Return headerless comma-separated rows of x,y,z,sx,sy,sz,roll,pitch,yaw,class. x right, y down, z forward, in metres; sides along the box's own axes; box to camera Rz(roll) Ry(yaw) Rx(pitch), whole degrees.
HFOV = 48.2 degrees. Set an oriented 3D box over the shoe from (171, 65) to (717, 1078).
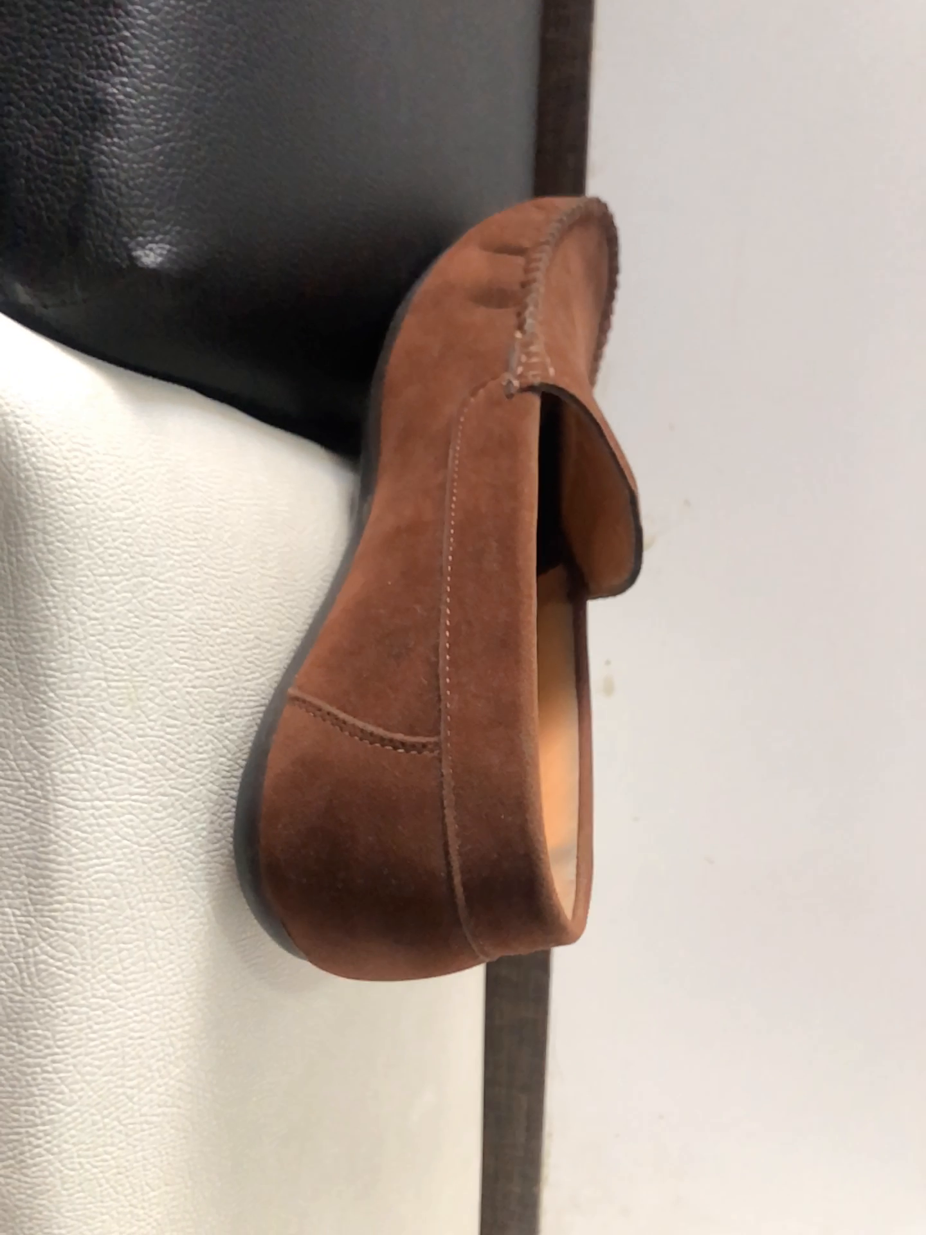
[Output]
0.027,-0.029,0.332,0.141,0.080,0.290,70,28,-51,shoe
